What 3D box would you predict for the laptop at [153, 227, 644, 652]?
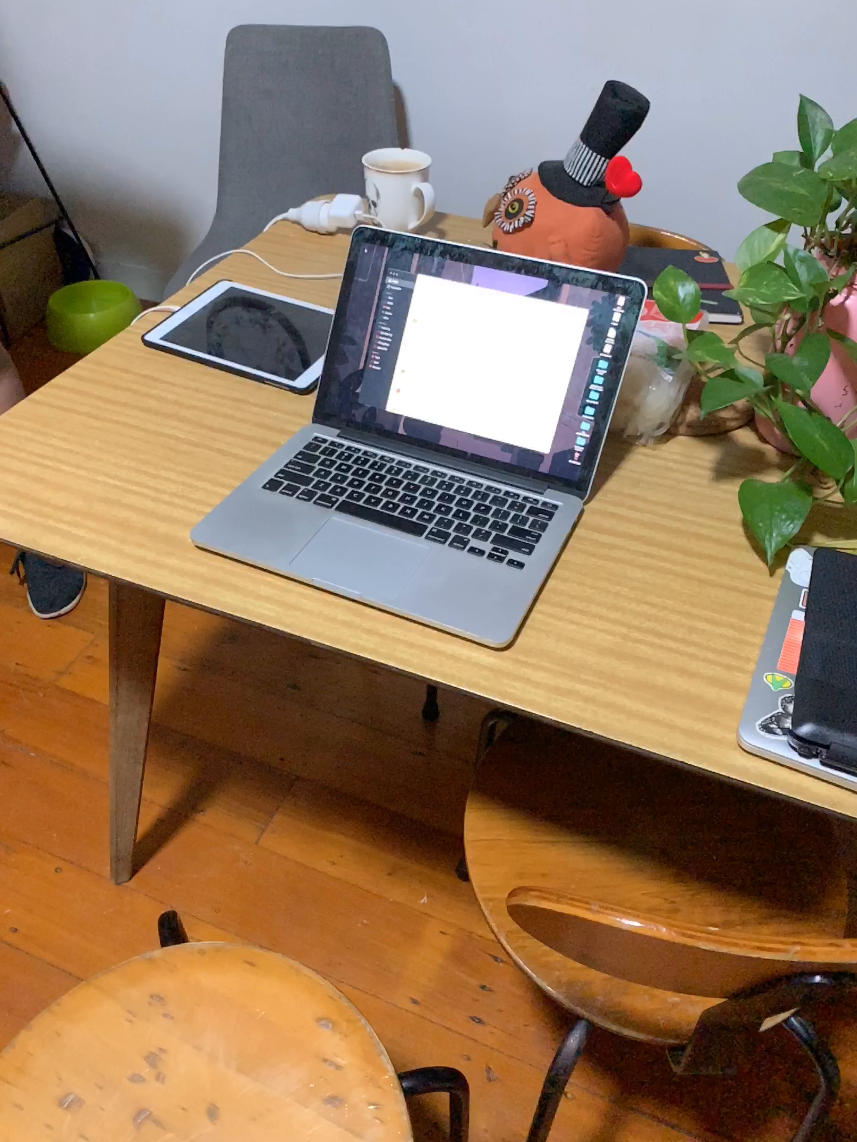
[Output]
[{"bbox_3d":[-0.006,-0.126,0.683,0.264,0.144,0.288,18,44,19],"label":"laptop"}]
